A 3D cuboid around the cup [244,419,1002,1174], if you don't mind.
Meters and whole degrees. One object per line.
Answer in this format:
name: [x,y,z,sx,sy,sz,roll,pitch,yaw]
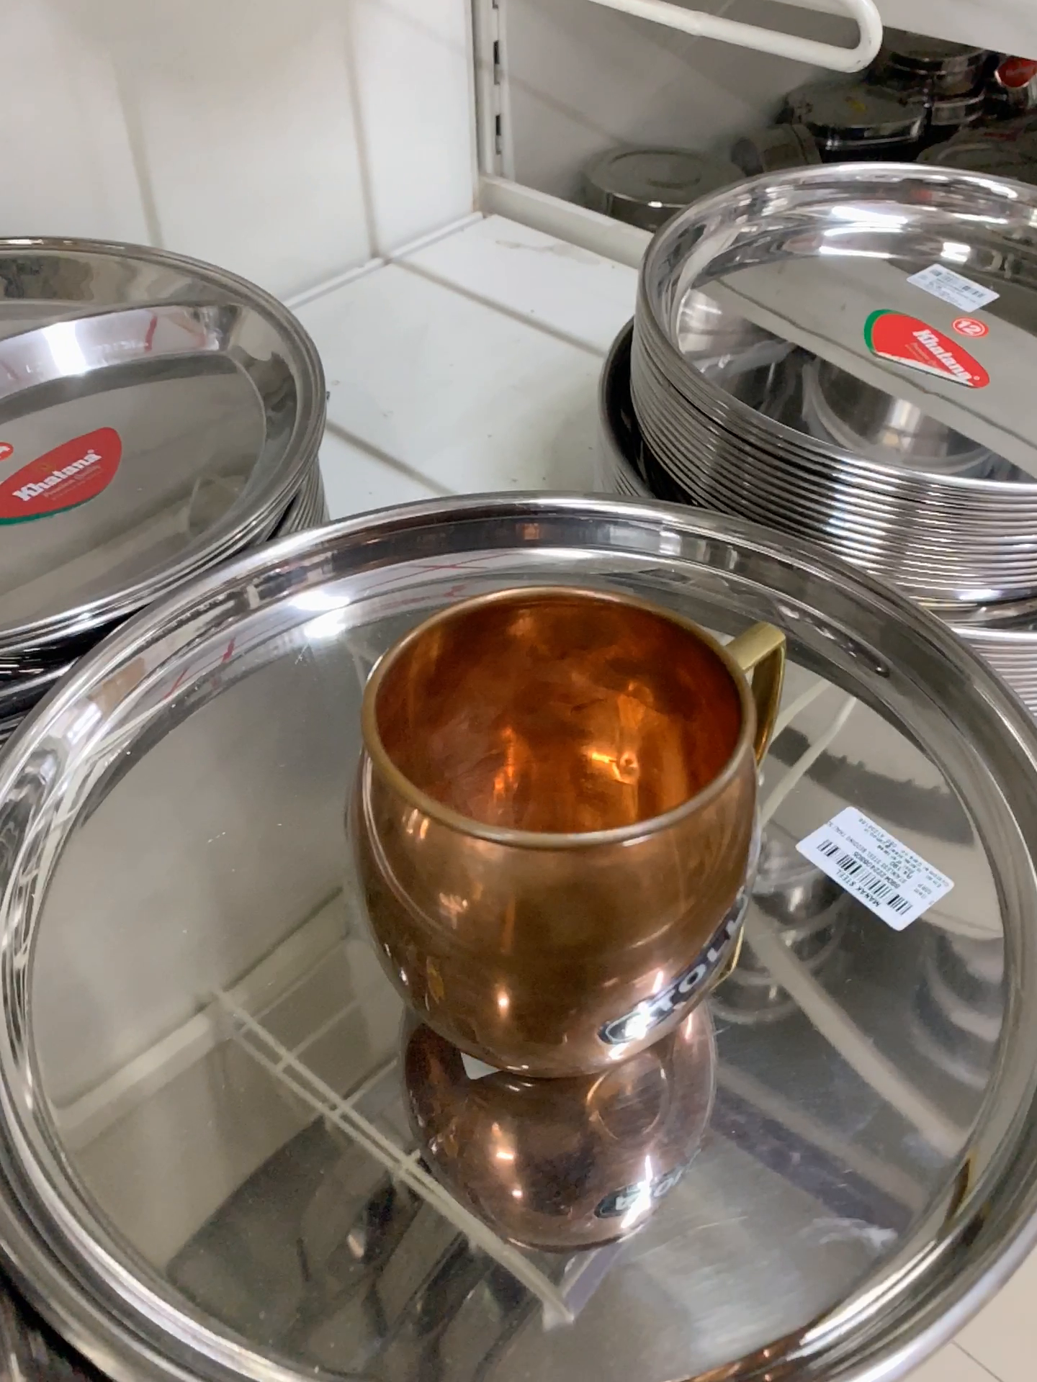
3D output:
cup: [0.021,0.016,0.240,0.120,0.090,0.090,-30,53,-29]
